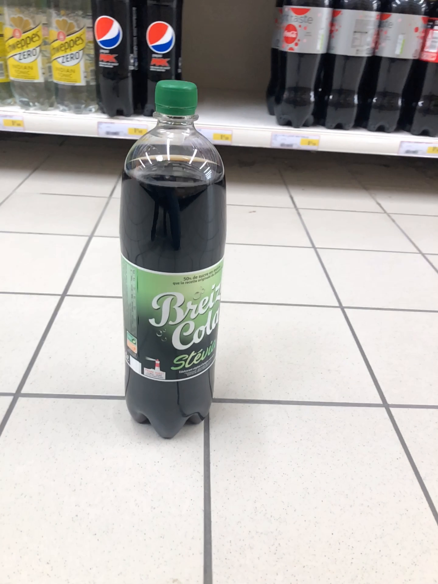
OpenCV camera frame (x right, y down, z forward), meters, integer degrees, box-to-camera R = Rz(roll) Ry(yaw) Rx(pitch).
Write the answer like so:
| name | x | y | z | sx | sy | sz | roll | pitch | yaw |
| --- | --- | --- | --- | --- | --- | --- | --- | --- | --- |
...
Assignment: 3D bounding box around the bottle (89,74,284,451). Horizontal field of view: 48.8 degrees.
| name | x | y | z | sx | sy | sz | roll | pitch | yaw |
| --- | --- | --- | --- | --- | --- | --- | --- | --- | --- |
| bottle | -0.034 | -0.022 | 0.424 | 0.100 | 0.298 | 0.101 | 4 | 29 | -2 |
